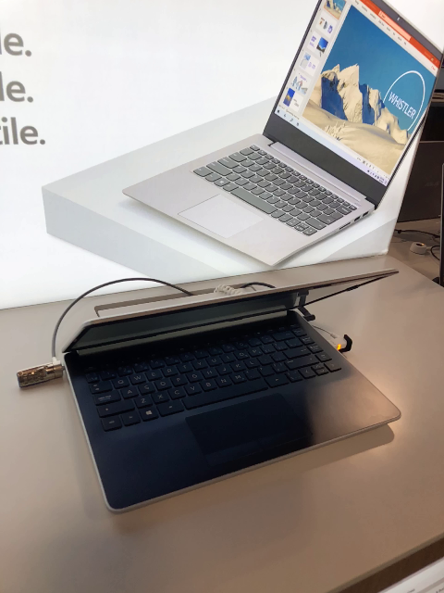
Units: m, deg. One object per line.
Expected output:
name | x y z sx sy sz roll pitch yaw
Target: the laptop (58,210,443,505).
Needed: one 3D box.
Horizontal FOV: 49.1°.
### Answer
laptop | 0.009 0.030 0.508 0.302 0.155 0.226 -9 31 -23
